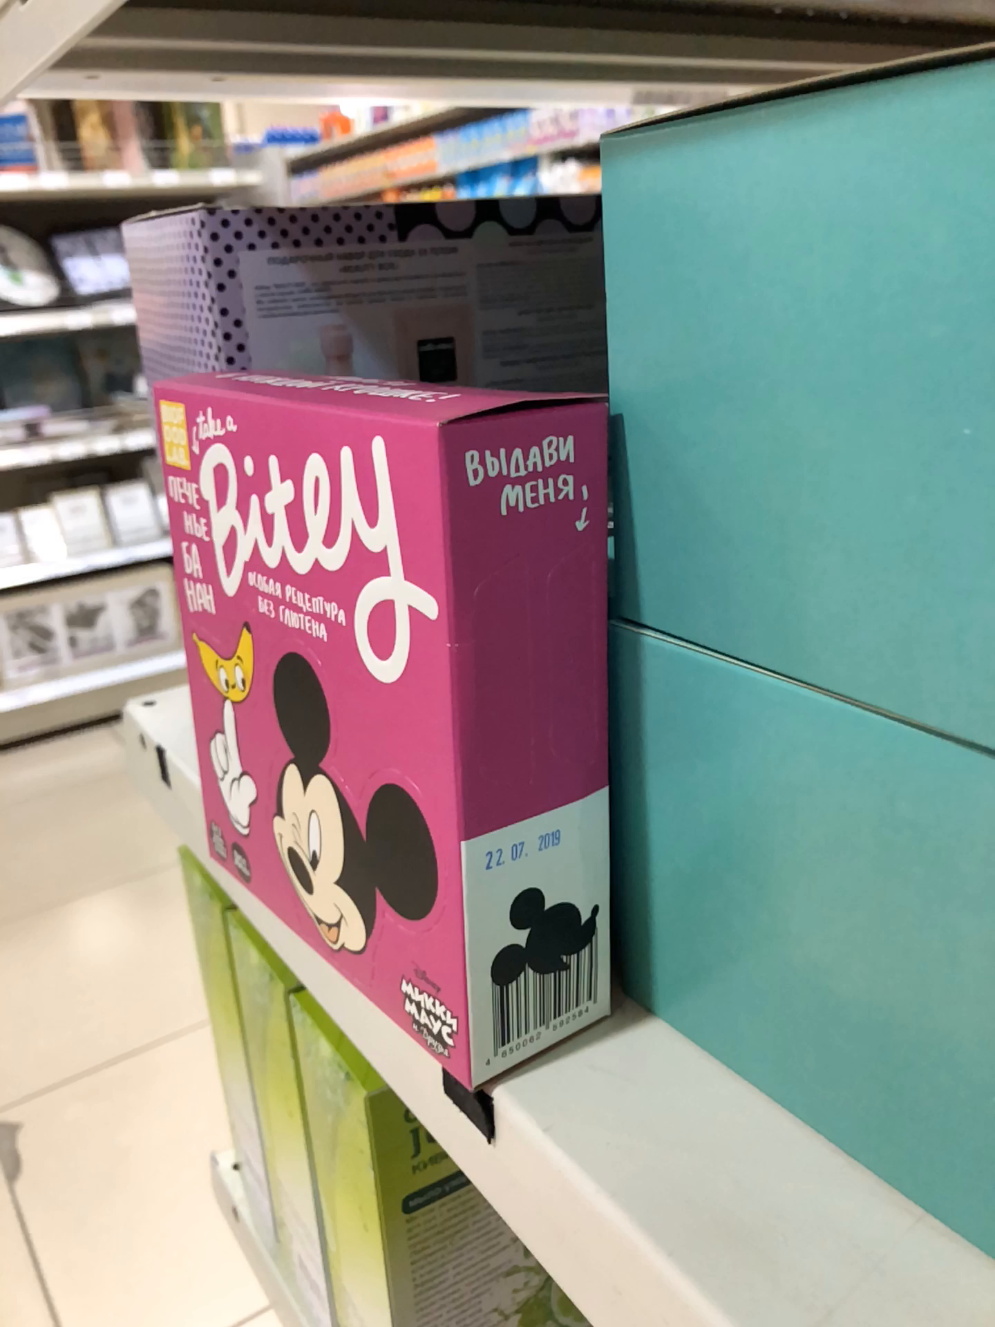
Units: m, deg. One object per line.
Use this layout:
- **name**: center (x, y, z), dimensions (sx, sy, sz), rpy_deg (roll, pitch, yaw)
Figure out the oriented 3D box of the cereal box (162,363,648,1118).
- **cereal box**: center (-0.027, 0.006, 0.278), dimensions (0.040, 0.149, 0.140), rpy_deg (-16, 24, -35)
